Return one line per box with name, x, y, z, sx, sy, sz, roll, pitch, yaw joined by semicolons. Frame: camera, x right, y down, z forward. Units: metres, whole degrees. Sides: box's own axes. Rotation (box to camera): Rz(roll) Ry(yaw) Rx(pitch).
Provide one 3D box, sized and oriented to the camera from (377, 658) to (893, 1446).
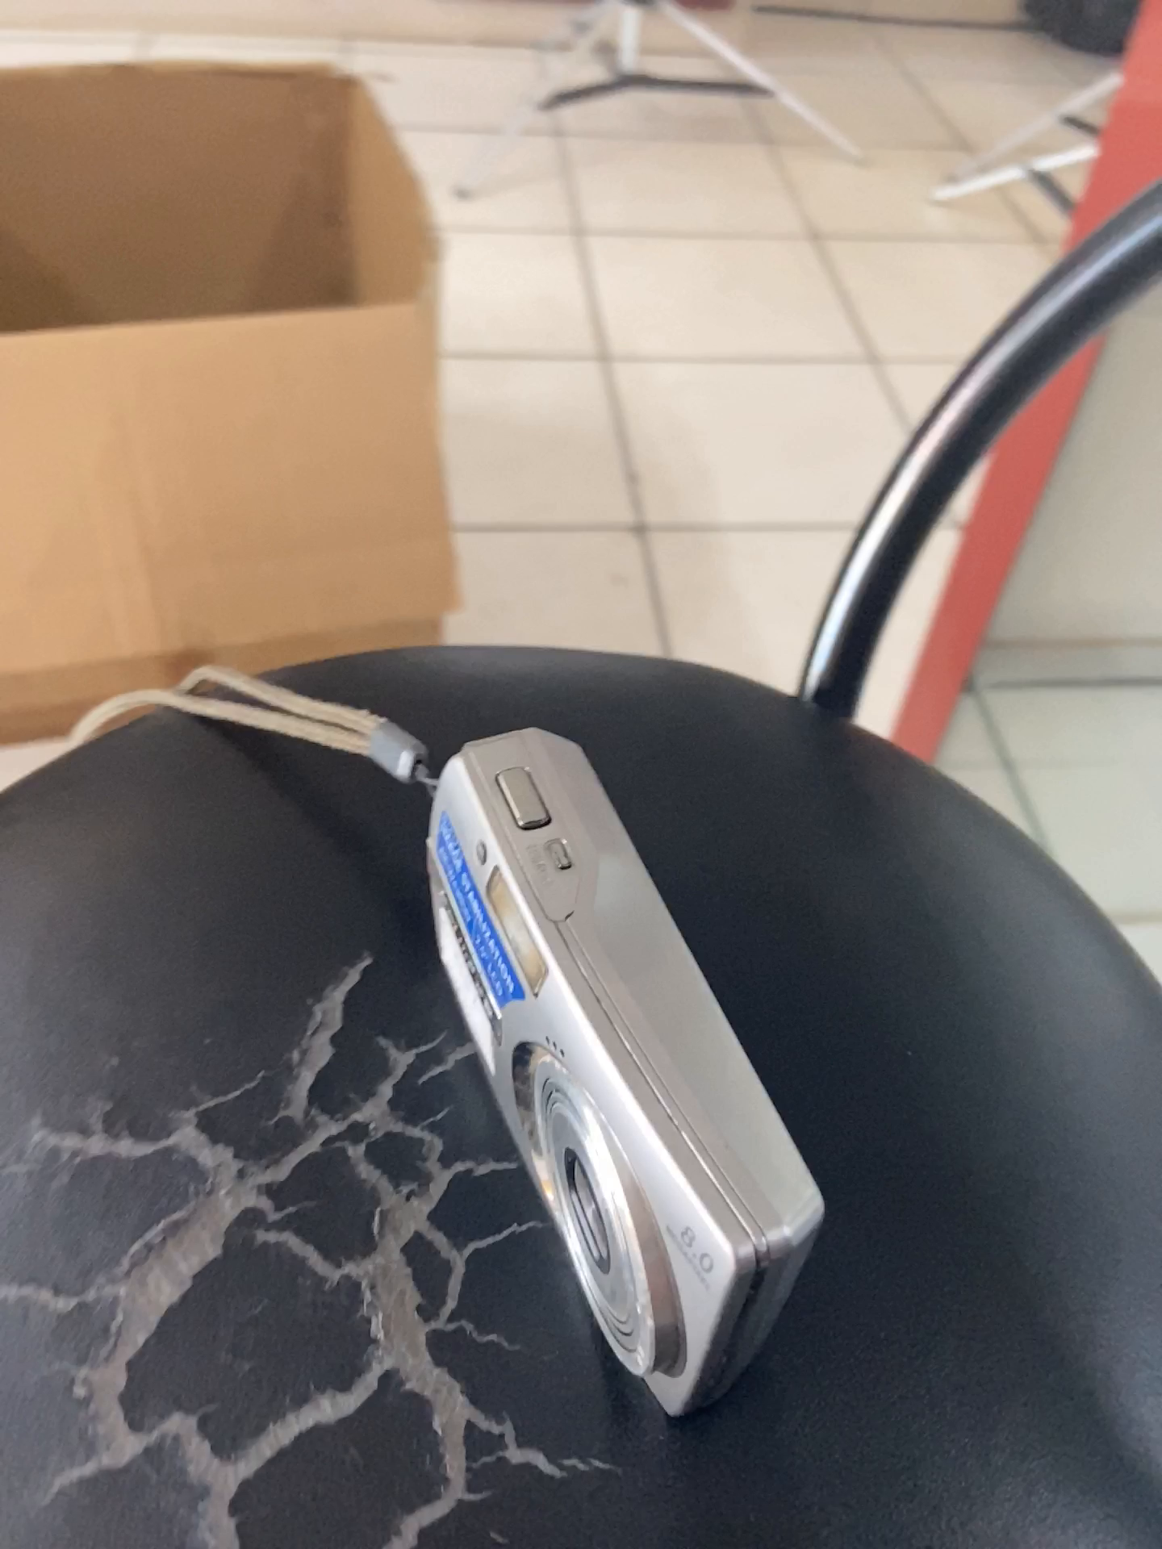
camera;0.000;0.039;0.190;0.030;0.060;0.100;-16;51;-19
